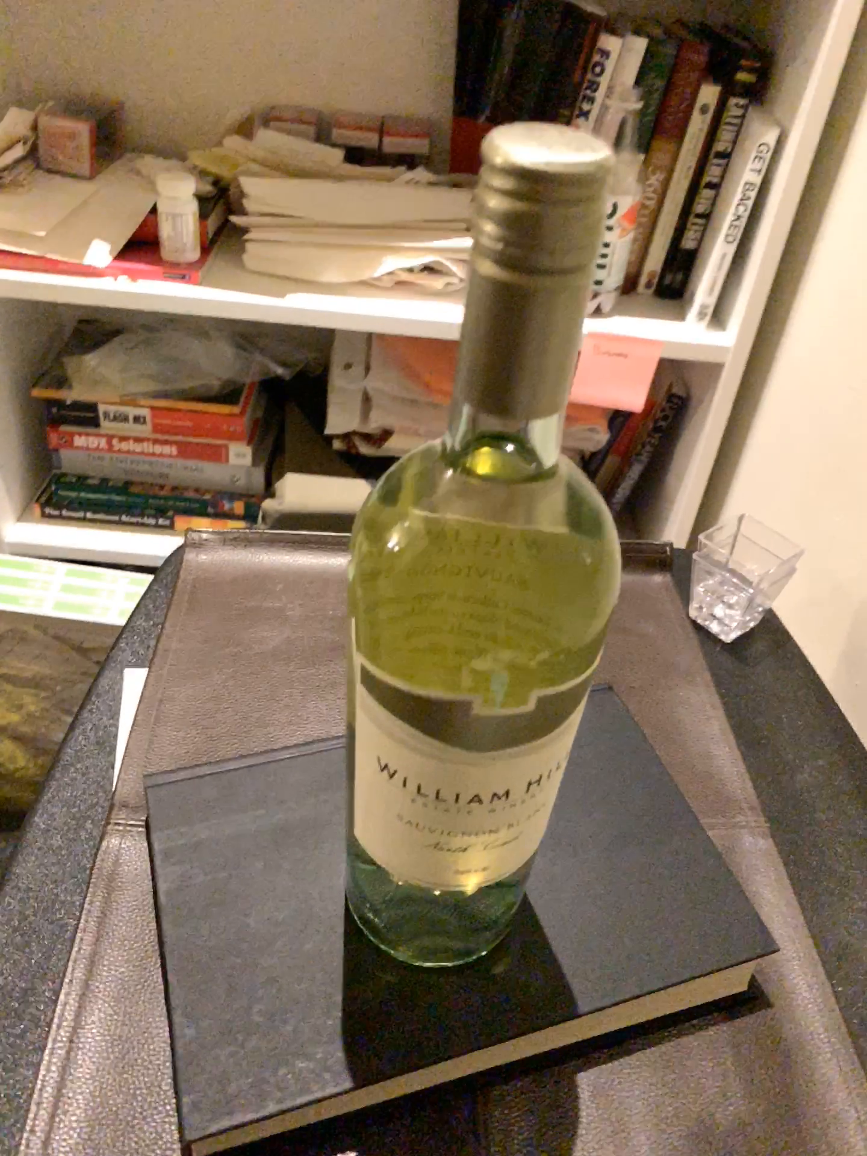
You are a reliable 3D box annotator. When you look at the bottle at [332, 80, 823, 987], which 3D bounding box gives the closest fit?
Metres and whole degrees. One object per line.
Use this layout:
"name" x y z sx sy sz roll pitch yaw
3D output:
"bottle" 0.014 0.015 0.296 0.090 0.299 0.090 4 39 -3
